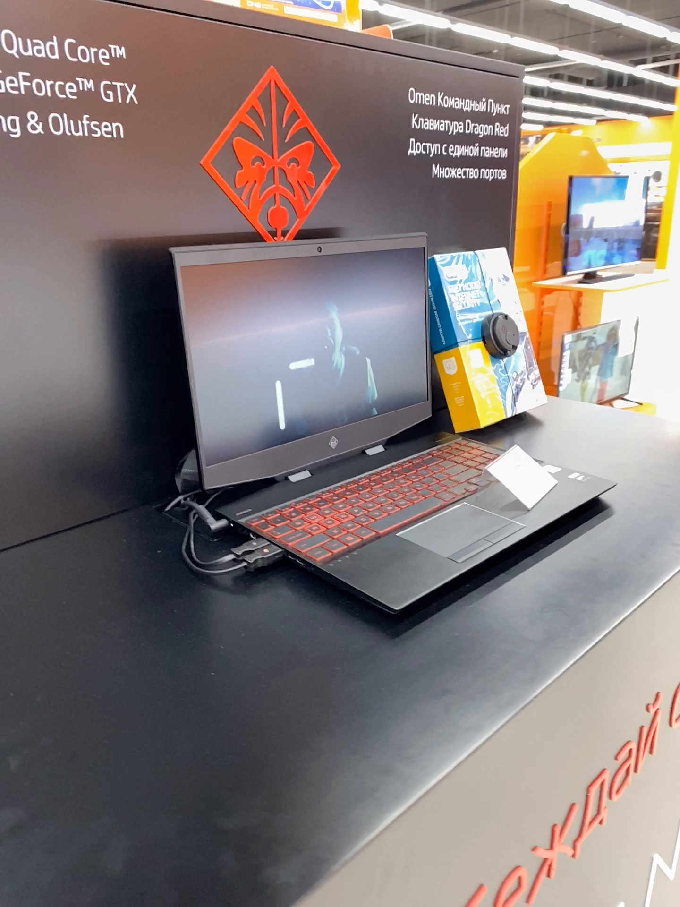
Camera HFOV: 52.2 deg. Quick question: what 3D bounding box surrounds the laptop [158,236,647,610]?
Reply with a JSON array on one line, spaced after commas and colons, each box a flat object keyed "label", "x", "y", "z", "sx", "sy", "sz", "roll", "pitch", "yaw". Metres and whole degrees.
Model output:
[{"label": "laptop", "x": 0.068, "y": -0.079, "z": 0.703, "sx": 0.359, "sy": 0.247, "sz": 0.302, "roll": -18, "pitch": 26, "yaw": -41}]
